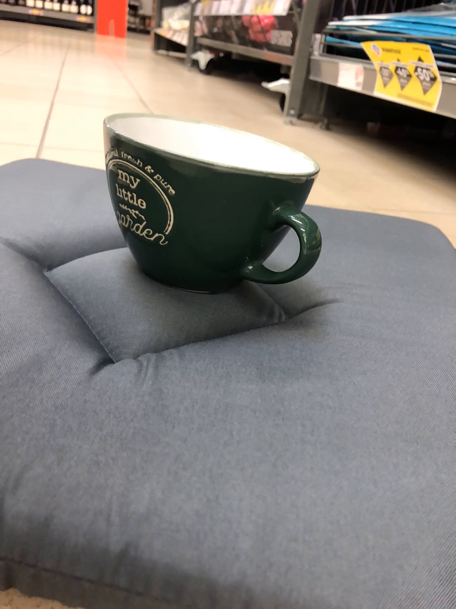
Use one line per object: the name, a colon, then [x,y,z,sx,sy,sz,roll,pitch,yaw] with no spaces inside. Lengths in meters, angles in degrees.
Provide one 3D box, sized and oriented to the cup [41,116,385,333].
cup: [-0.011,-0.056,0.271,0.121,0.060,0.130,7,27,-4]
